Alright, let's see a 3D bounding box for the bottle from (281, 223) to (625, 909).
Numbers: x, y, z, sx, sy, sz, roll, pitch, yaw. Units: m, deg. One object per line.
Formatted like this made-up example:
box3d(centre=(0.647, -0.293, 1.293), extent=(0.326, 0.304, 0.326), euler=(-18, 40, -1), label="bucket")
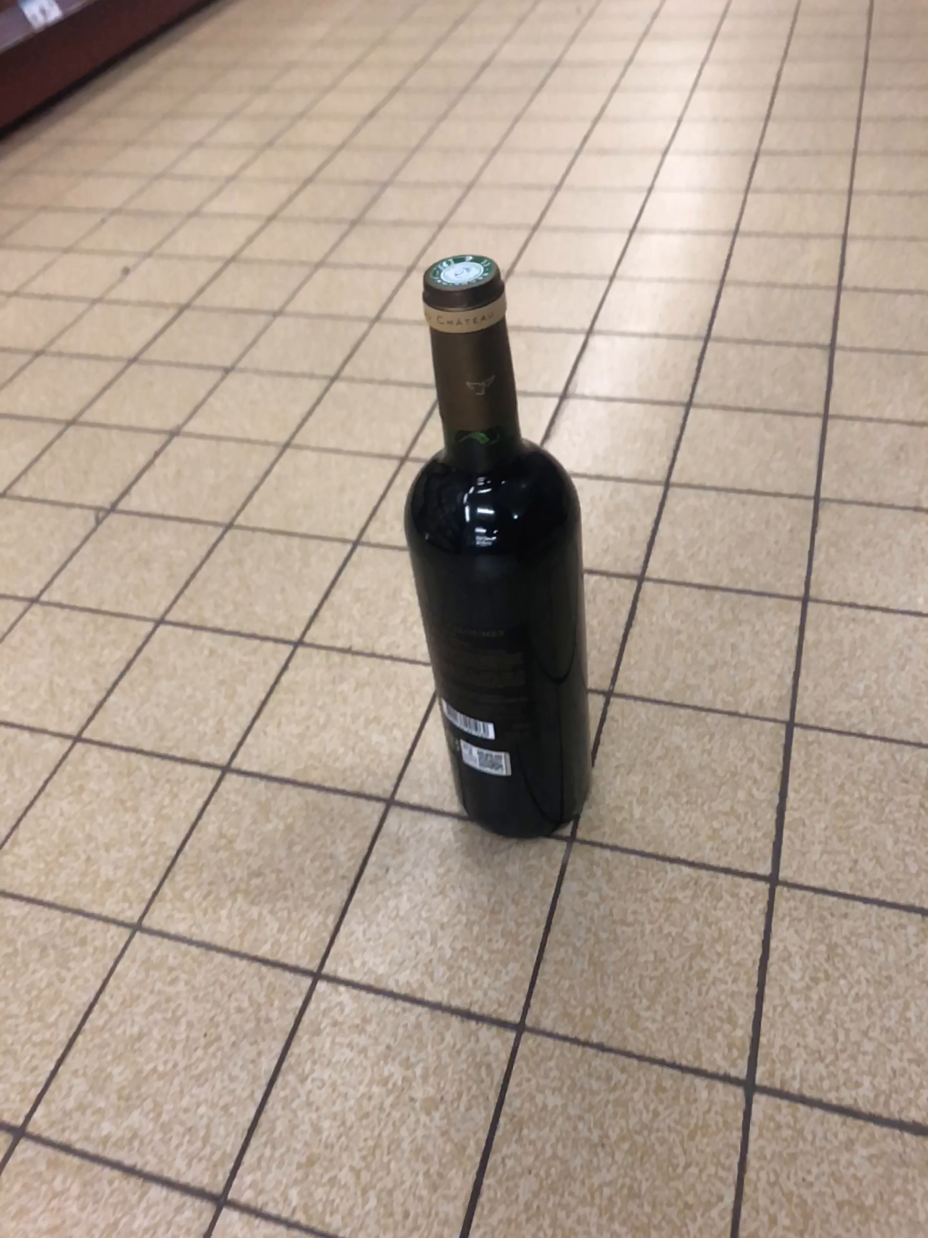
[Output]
box3d(centre=(0.013, -0.004, 0.438), extent=(0.080, 0.288, 0.091), euler=(18, 49, 25), label="bottle")
